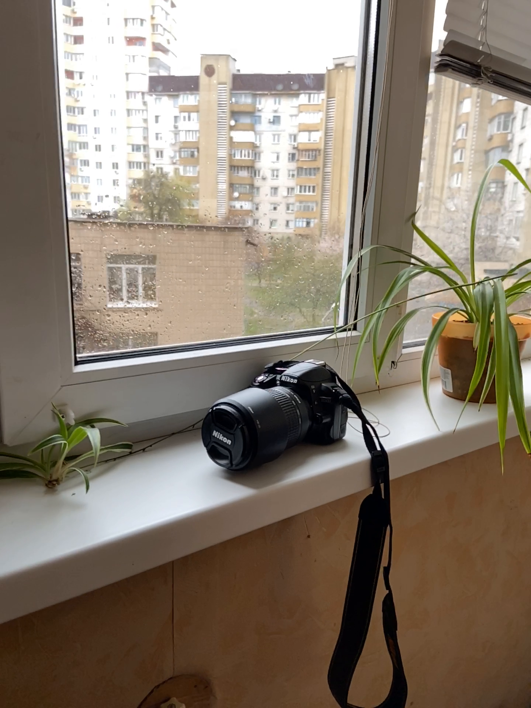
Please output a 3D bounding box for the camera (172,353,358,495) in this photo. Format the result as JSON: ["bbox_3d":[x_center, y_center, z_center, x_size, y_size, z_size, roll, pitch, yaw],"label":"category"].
[{"bbox_3d":[0.004,0.070,0.637,0.125,0.089,0.191,12,17,36],"label":"camera"}]
